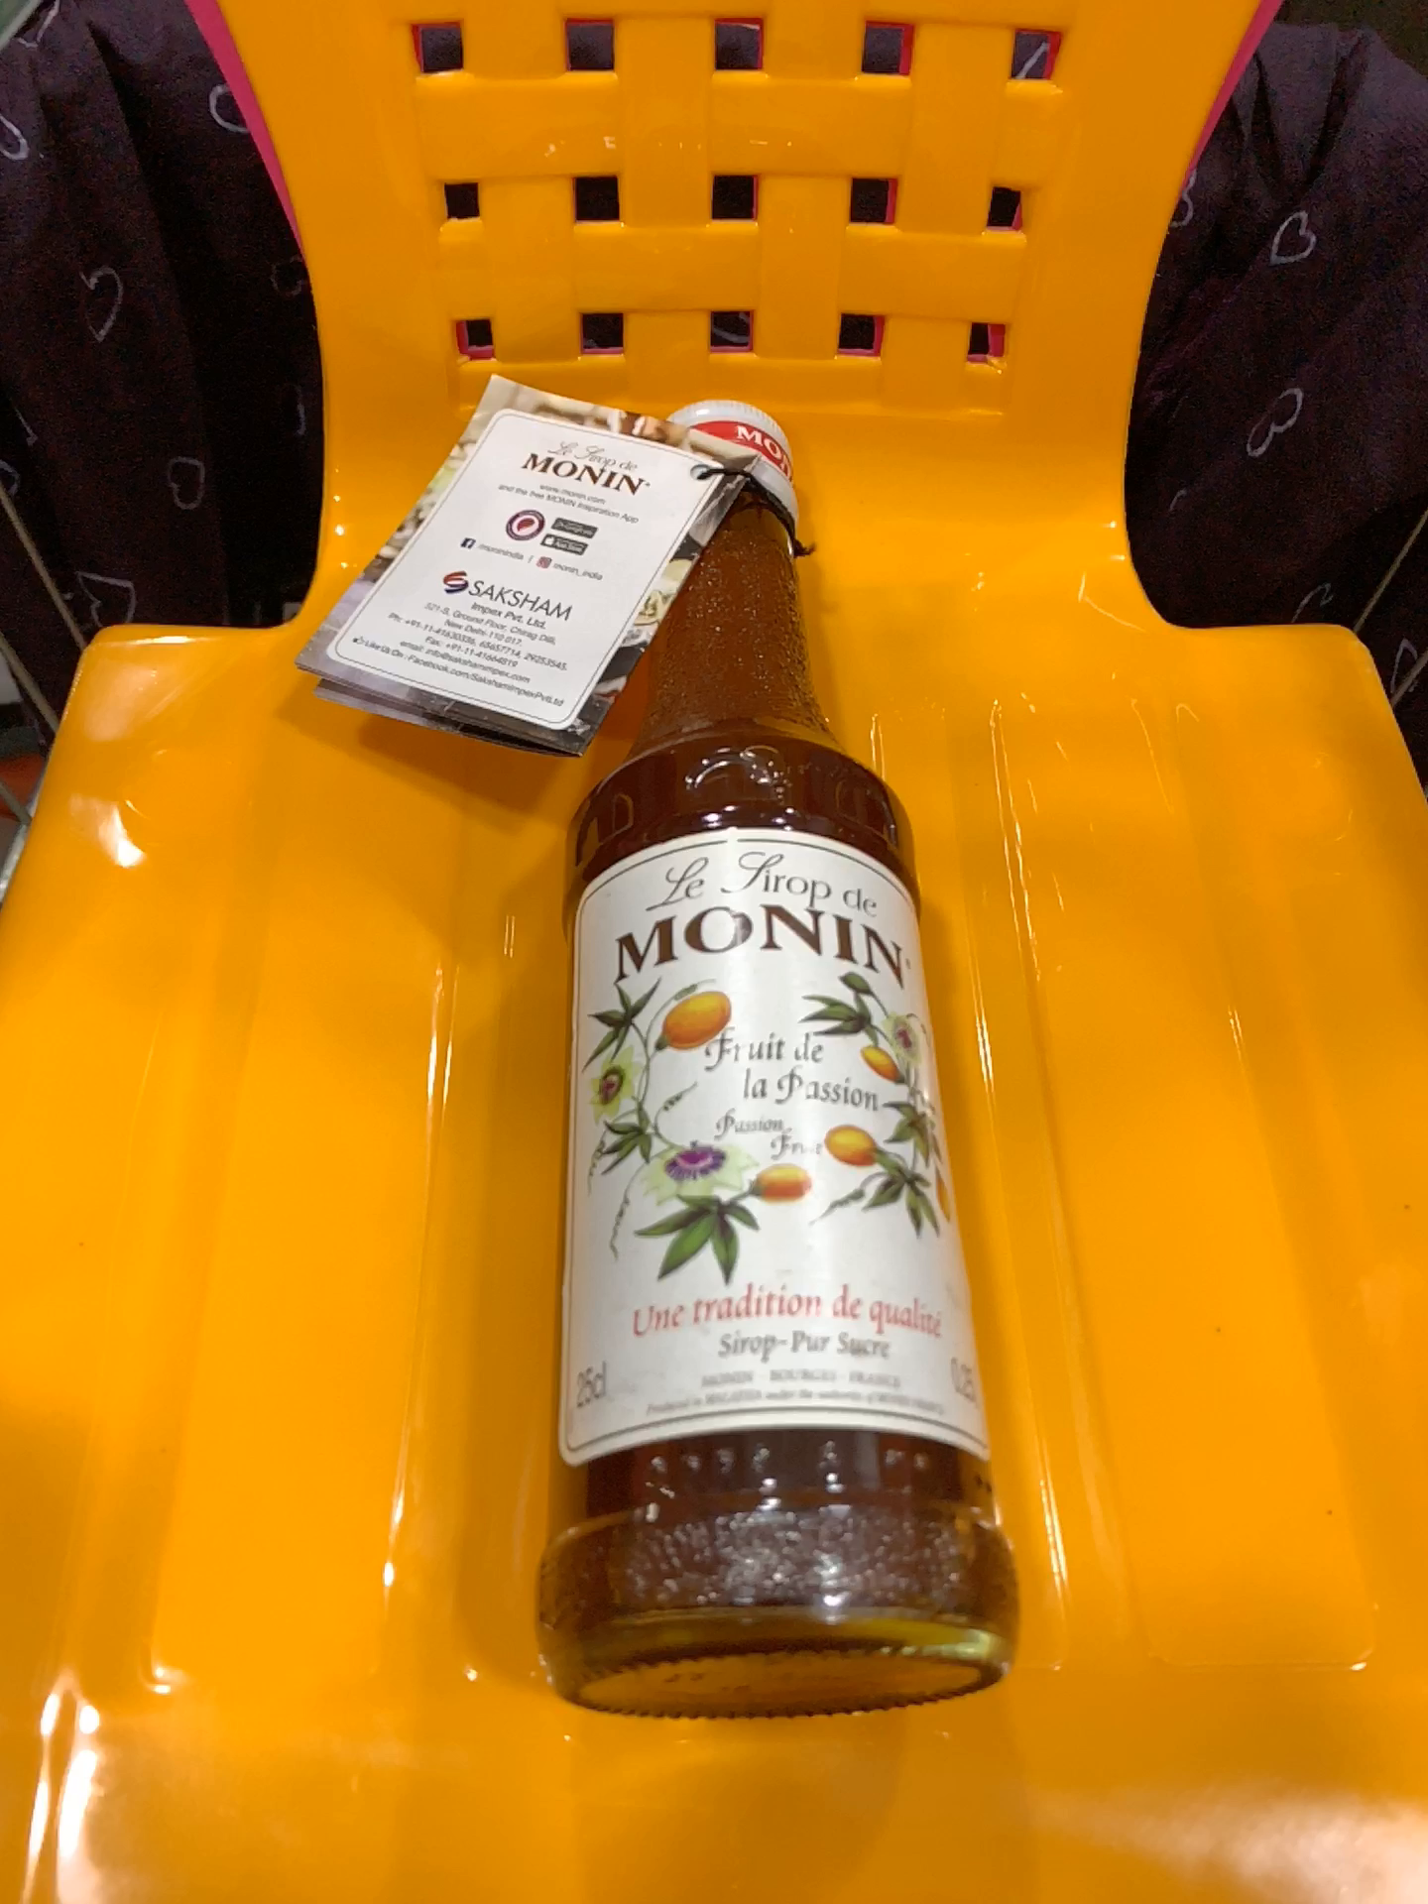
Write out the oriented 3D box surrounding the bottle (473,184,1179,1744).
[{"bbox_3d":[0.006,-0.016,0.208,0.060,0.060,0.220,0,58,-2],"label":"bottle"}]
